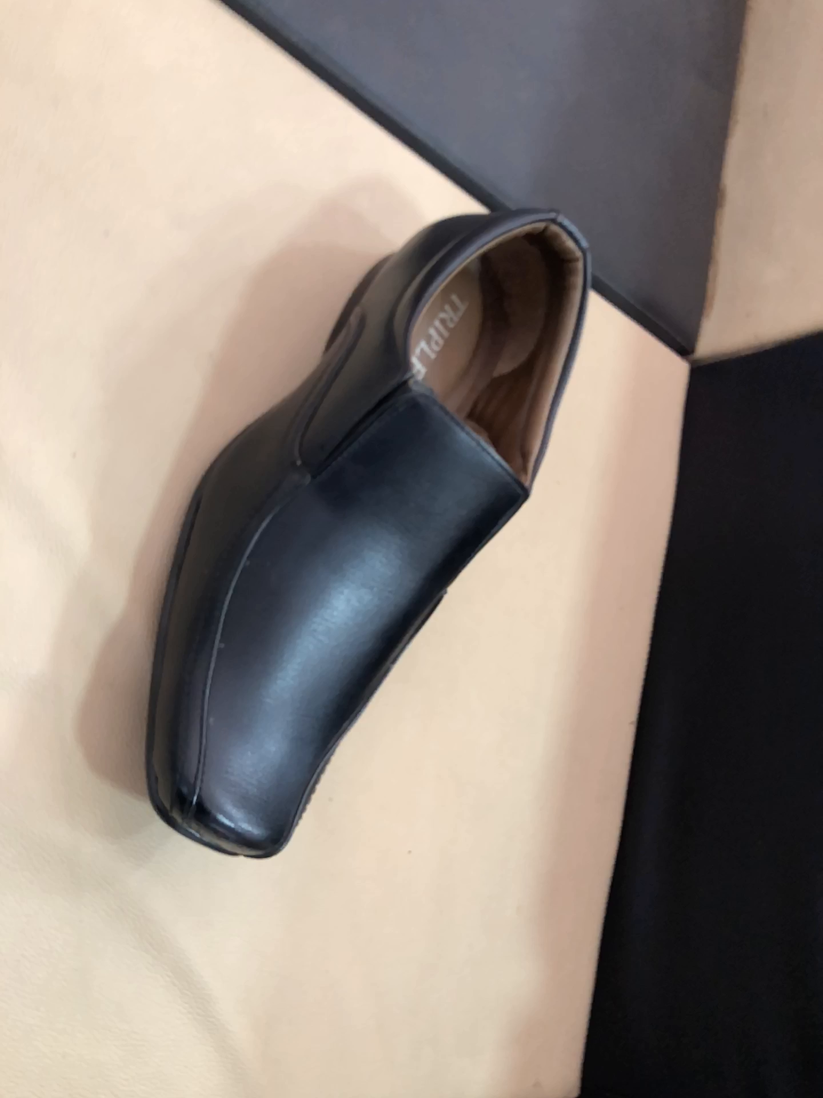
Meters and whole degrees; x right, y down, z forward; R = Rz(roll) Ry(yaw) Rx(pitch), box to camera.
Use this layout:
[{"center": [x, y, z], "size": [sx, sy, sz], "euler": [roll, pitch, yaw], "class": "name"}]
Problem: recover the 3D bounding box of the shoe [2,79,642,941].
[{"center": [-0.020, -0.028, 0.365], "size": [0.091, 0.099, 0.311], "euler": [39, 64, -31], "class": "shoe"}]
